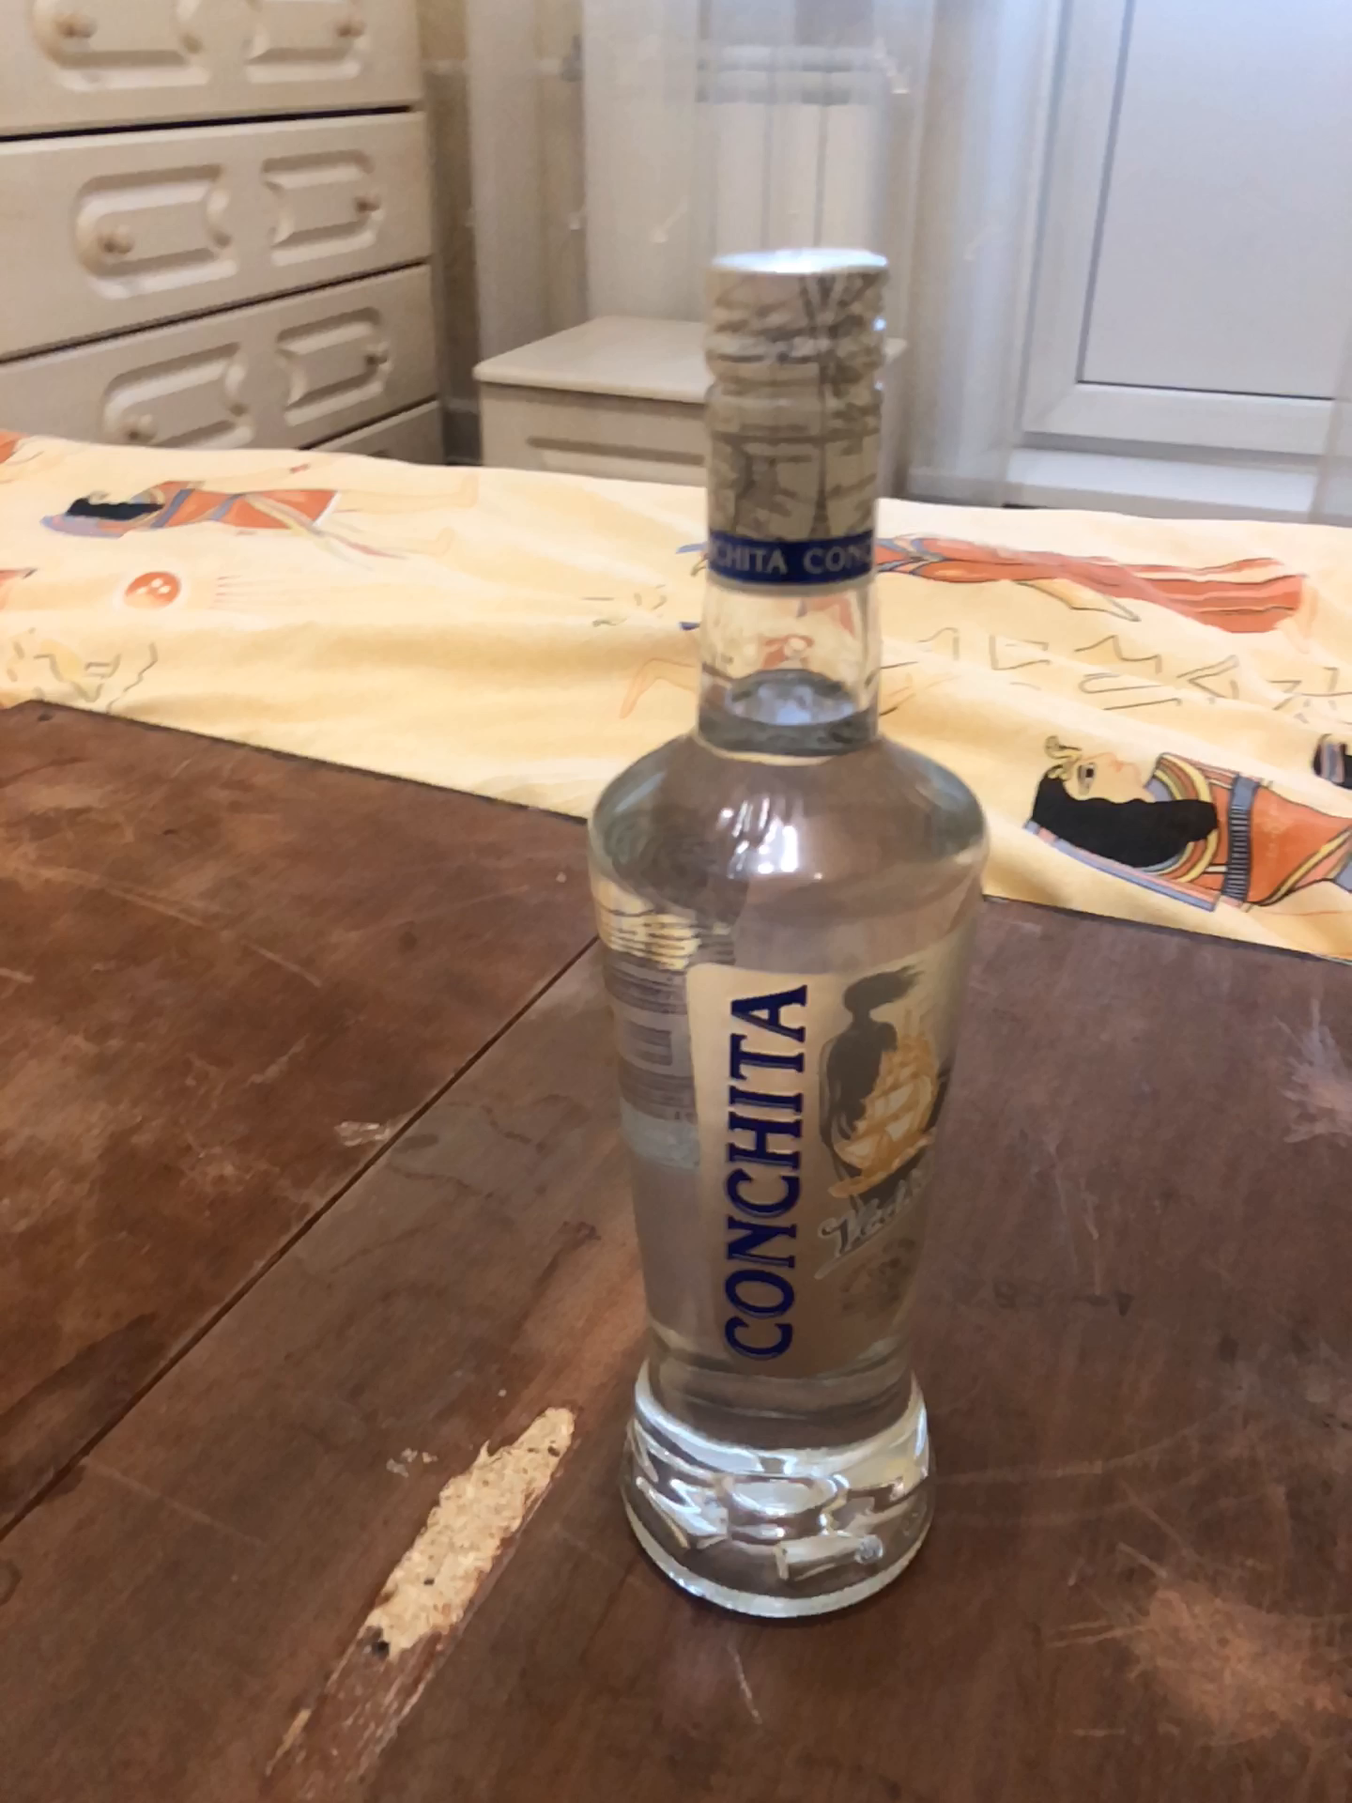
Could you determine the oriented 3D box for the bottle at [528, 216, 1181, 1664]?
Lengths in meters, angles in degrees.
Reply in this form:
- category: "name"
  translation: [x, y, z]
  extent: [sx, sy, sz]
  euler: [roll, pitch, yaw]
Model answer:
- category: "bottle"
  translation: [0.021, 0.021, 0.290]
  extent: [0.077, 0.273, 0.076]
  euler: [0, 29, 0]
